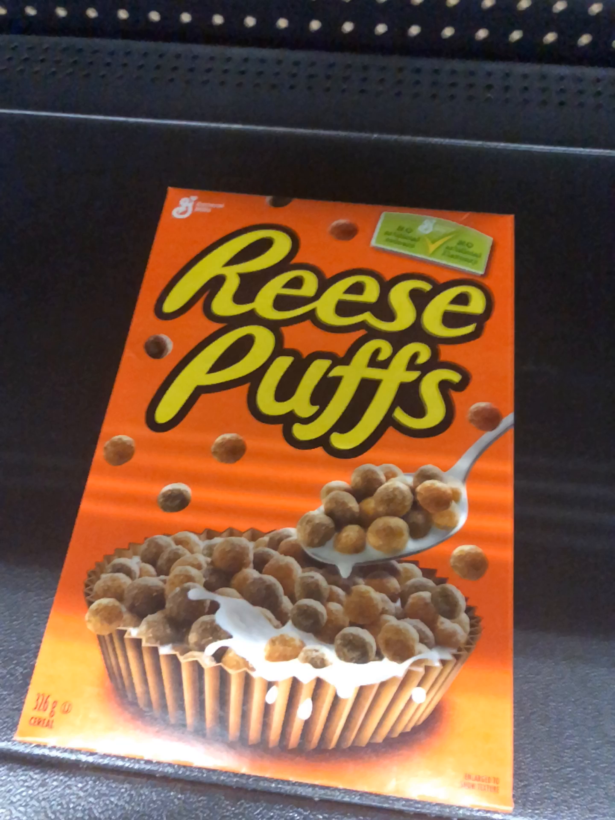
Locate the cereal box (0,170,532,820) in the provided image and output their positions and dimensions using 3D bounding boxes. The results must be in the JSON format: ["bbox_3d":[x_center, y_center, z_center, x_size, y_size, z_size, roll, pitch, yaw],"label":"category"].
[{"bbox_3d":[0.000,0.018,0.332,0.200,0.050,0.291,6,65,5],"label":"cereal box"}]
